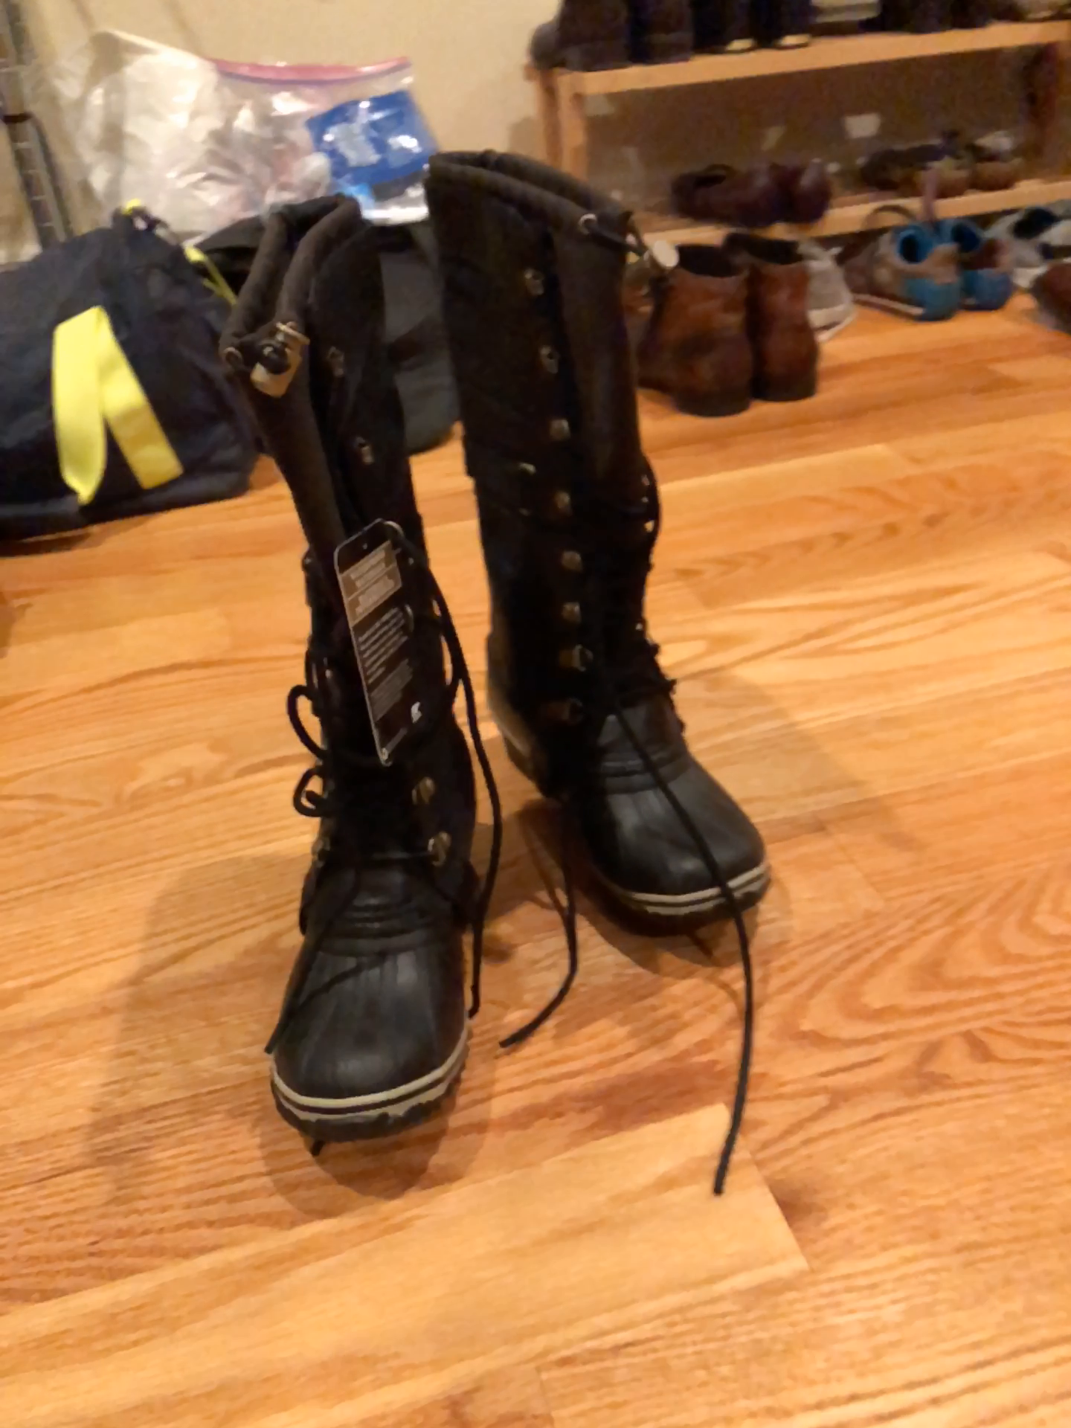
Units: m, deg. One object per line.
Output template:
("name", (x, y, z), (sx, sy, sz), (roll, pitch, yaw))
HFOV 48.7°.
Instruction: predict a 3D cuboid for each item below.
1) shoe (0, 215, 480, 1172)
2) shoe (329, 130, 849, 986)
("shoe", (-0.094, -0.020, 0.502), (0.100, 0.308, 0.262), (-4, 32, 2))
("shoe", (0.016, -0.087, 0.575), (0.100, 0.328, 0.261), (-19, 34, -20))
